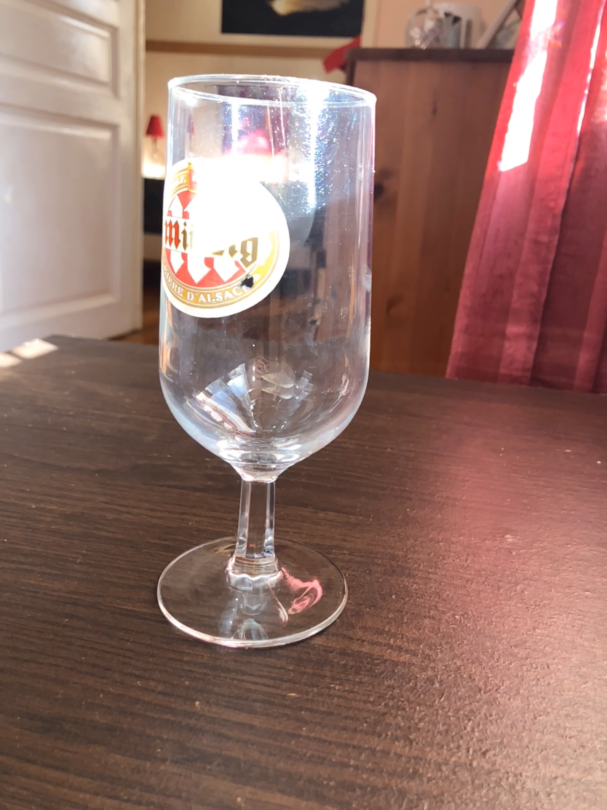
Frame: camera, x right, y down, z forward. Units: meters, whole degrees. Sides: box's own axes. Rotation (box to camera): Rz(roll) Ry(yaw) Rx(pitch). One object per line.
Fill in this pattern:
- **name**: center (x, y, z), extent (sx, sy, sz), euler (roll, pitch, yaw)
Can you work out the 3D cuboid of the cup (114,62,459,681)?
- **cup**: center (-0.009, -0.013, 0.210), extent (0.067, 0.155, 0.070), euler (4, 17, -1)
